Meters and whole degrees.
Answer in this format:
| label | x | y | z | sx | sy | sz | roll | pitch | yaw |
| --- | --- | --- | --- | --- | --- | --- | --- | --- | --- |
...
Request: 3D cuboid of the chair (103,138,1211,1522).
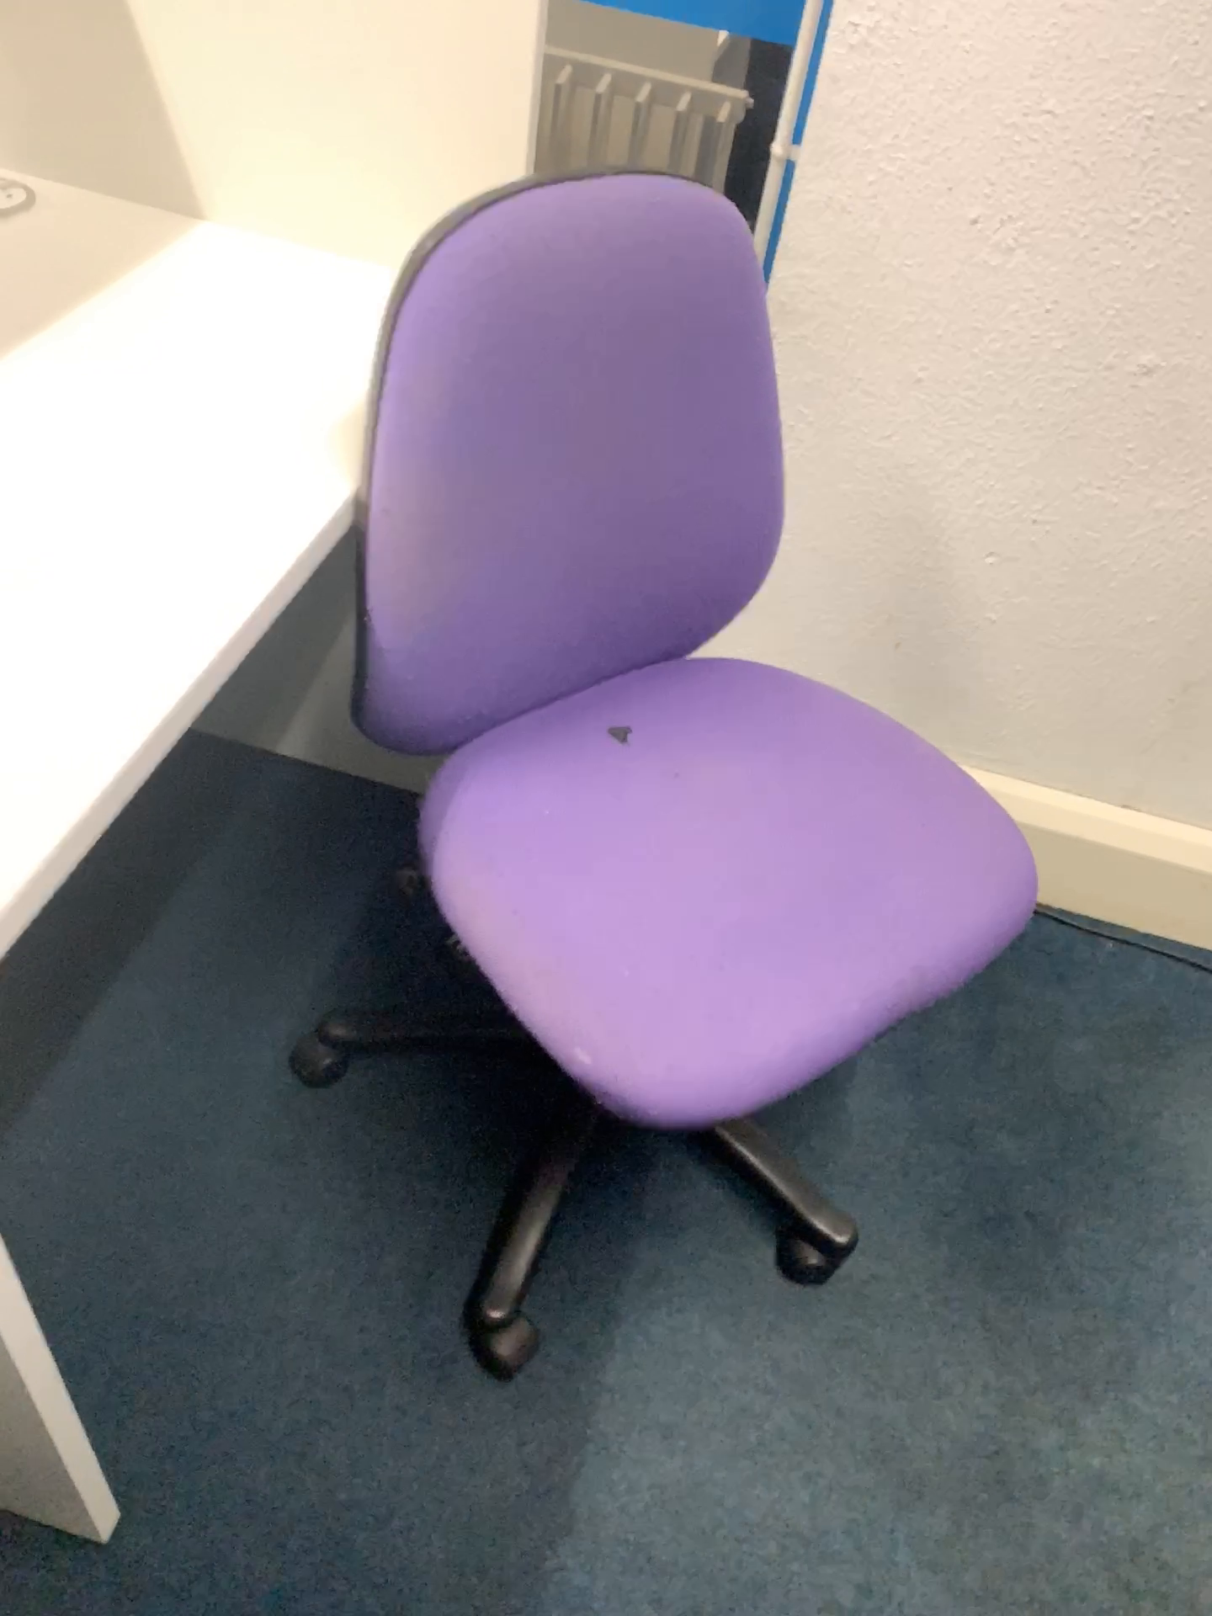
| label | x | y | z | sx | sy | sz | roll | pitch | yaw |
| --- | --- | --- | --- | --- | --- | --- | --- | --- | --- |
| chair | 0.078 | -0.007 | 1.107 | 0.693 | 0.862 | 0.654 | -23 | 53 | -30 |
